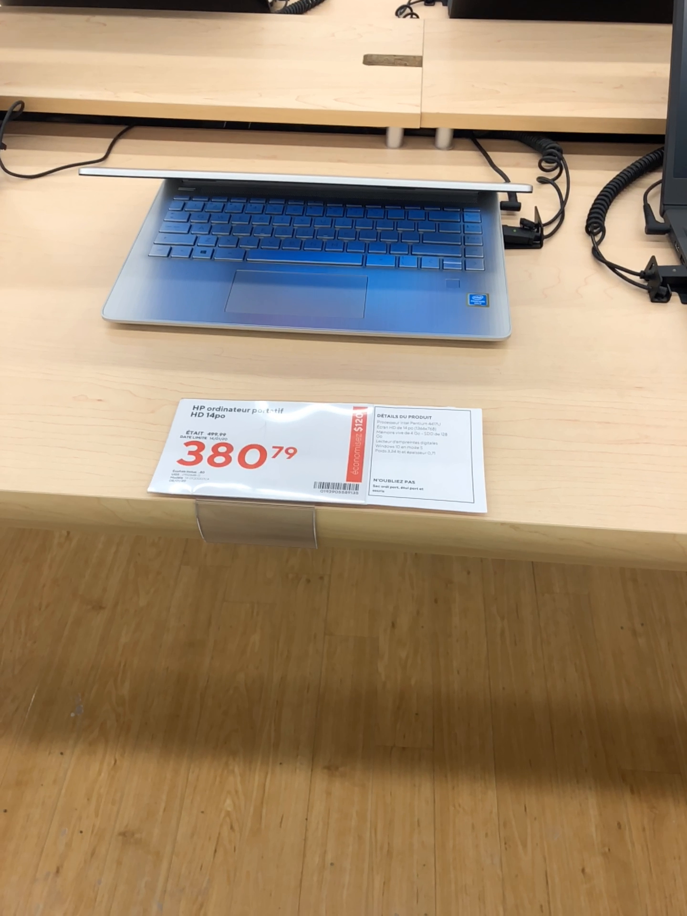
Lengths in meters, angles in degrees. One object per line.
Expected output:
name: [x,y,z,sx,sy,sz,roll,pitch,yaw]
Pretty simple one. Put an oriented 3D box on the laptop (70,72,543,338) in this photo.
laptop: [-0.028,-0.214,0.606,0.318,0.104,0.217,4,47,9]
